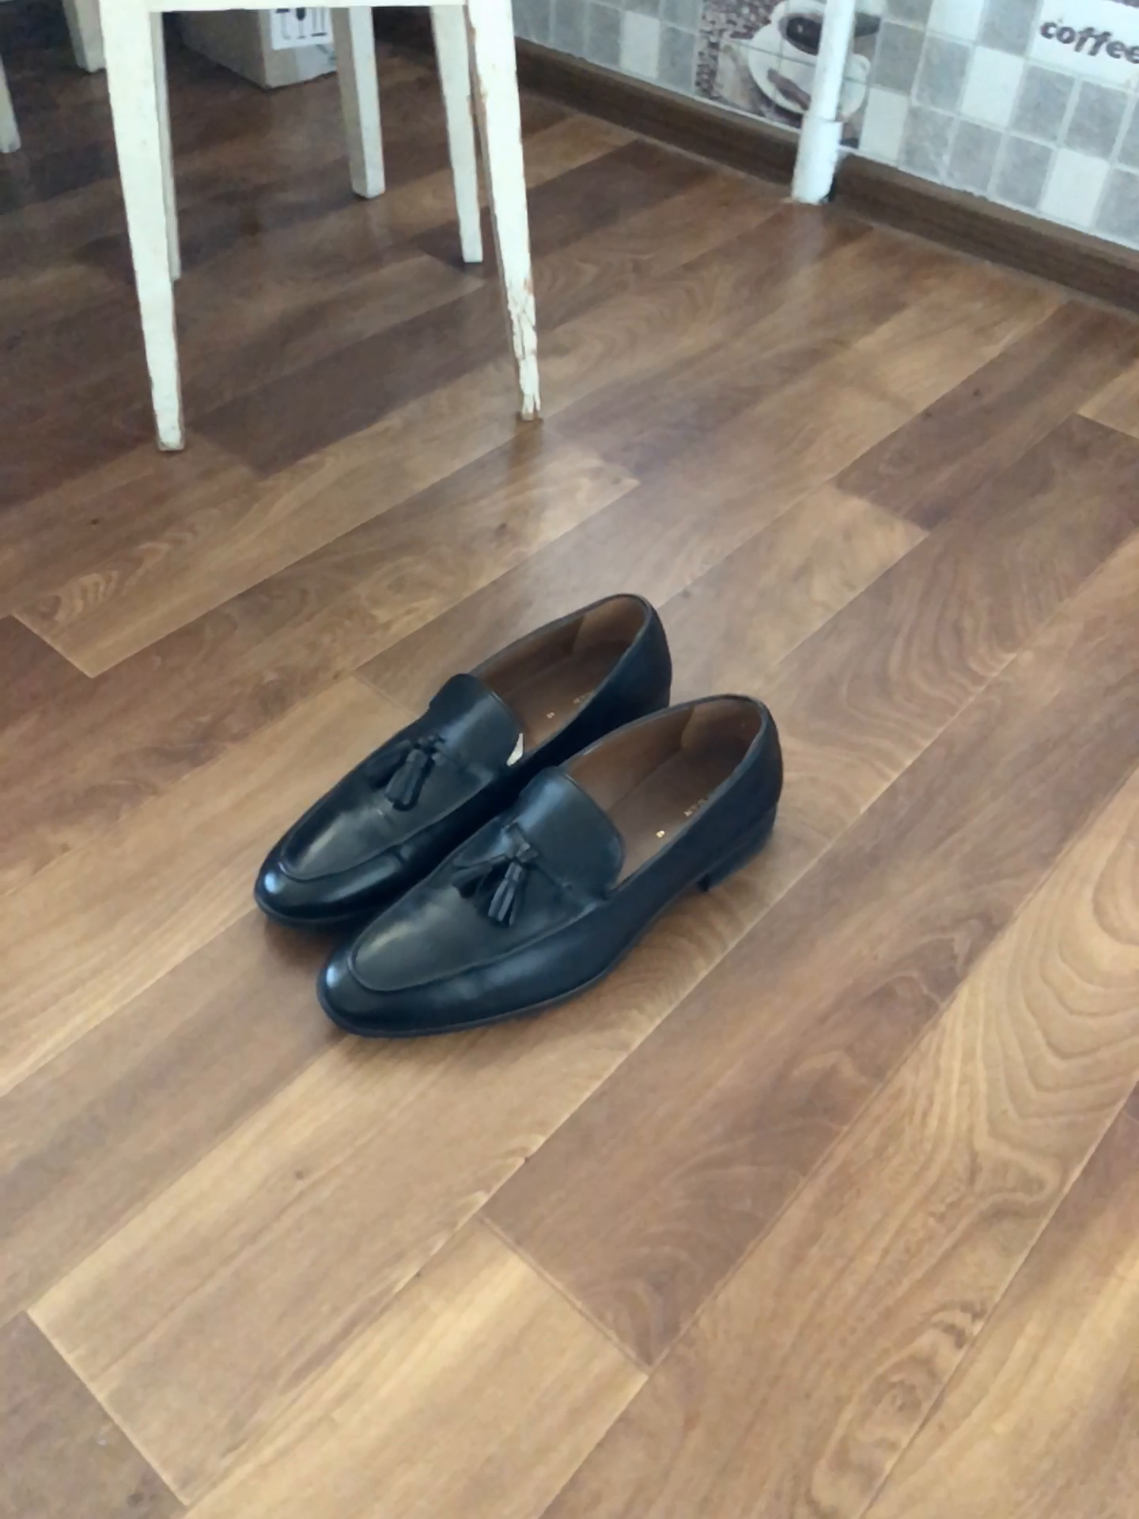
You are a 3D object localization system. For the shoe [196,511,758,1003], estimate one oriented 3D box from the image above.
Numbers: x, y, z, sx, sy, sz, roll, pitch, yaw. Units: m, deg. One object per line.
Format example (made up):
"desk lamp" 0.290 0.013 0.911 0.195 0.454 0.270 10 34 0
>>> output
"shoe" -0.042 -0.012 0.721 0.301 0.119 0.110 -32 55 -27

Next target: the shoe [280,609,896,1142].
"shoe" 0.016 0.051 0.663 0.301 0.119 0.110 -28 54 -25
